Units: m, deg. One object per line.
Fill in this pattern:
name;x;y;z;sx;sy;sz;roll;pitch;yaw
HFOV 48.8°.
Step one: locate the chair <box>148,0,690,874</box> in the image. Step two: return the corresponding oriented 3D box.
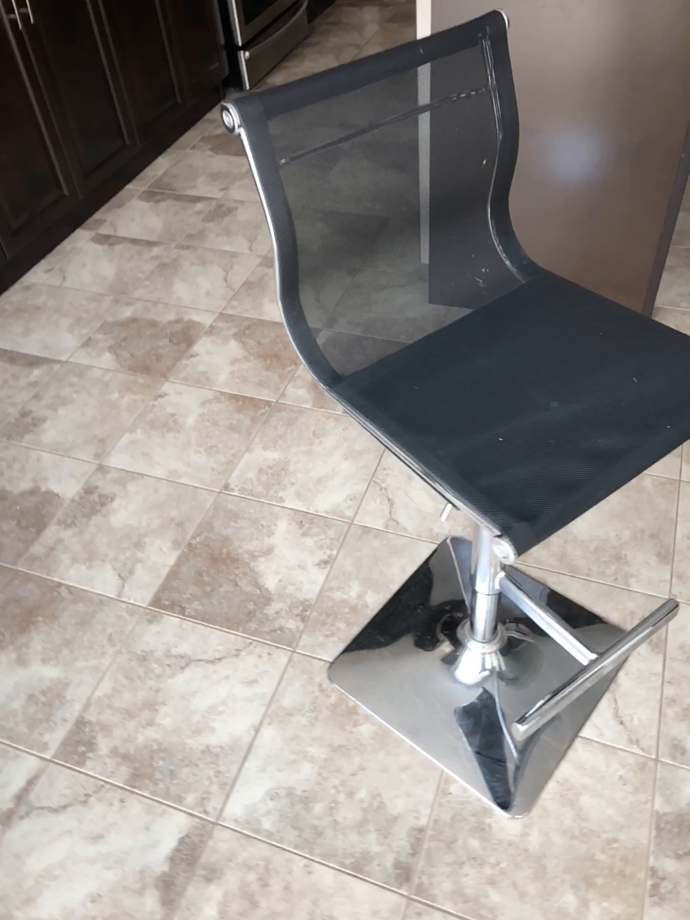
chair;0.217;-0.006;1.048;0.541;0.976;0.551;-29;49;-21
